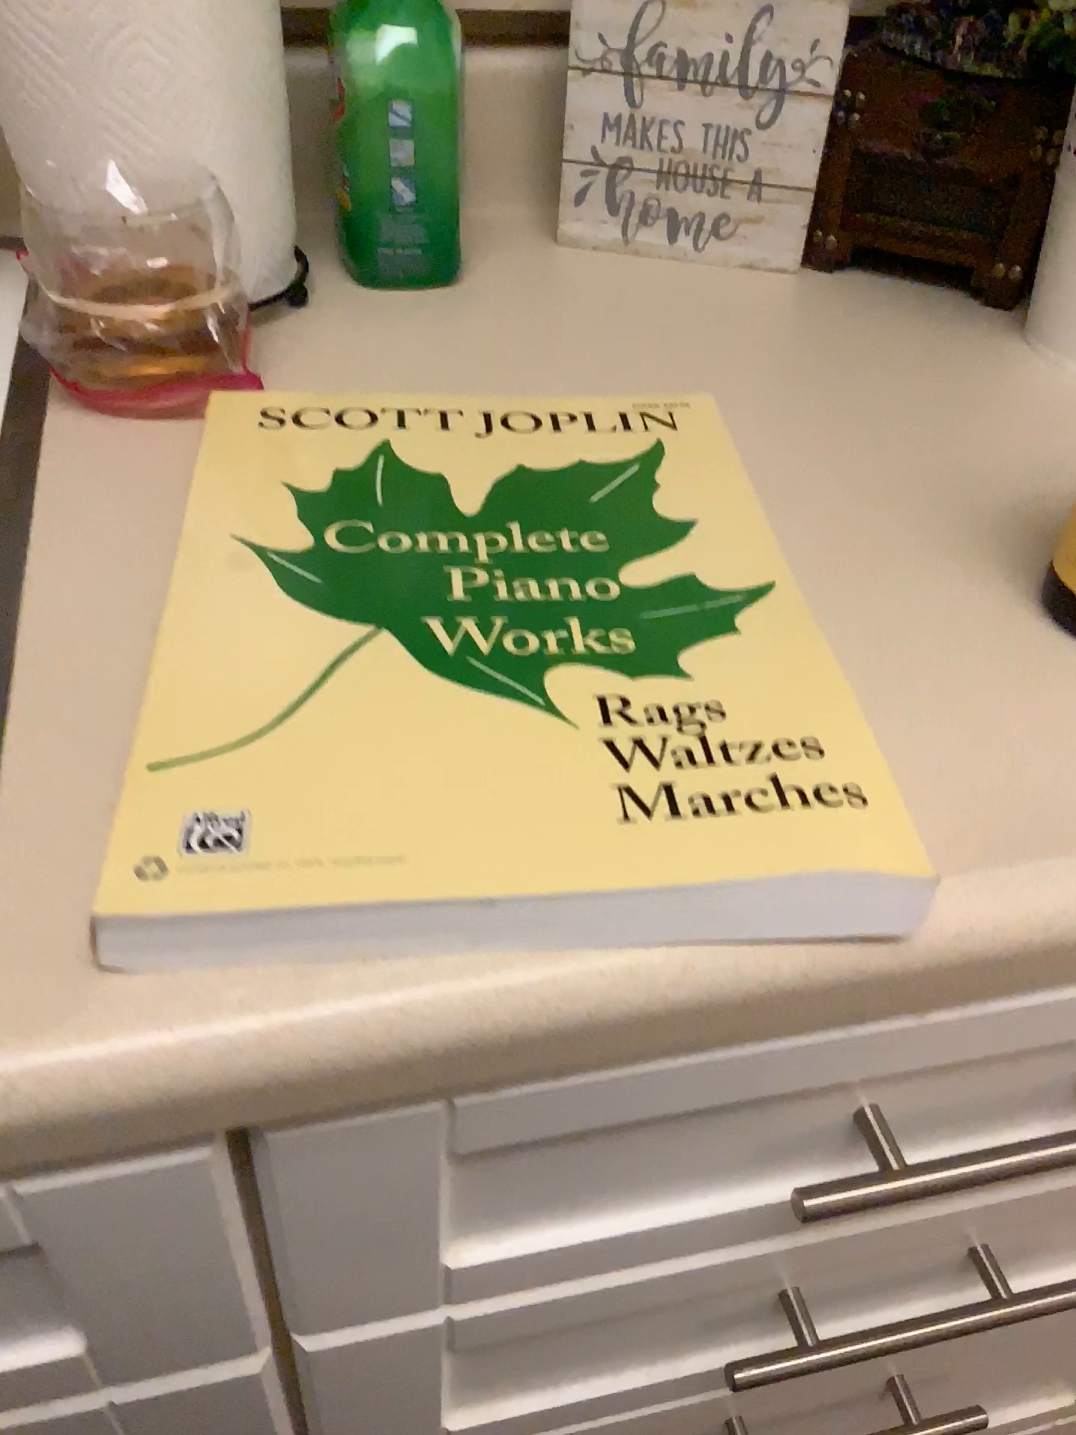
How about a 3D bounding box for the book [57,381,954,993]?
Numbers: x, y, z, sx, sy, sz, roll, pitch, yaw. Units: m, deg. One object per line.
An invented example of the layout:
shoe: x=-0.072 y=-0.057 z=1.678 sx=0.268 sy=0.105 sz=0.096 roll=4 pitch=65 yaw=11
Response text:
book: x=-0.020 y=-0.042 z=0.451 sx=0.240 sy=0.030 sz=0.320 roll=-1 pitch=40 yaw=-6
